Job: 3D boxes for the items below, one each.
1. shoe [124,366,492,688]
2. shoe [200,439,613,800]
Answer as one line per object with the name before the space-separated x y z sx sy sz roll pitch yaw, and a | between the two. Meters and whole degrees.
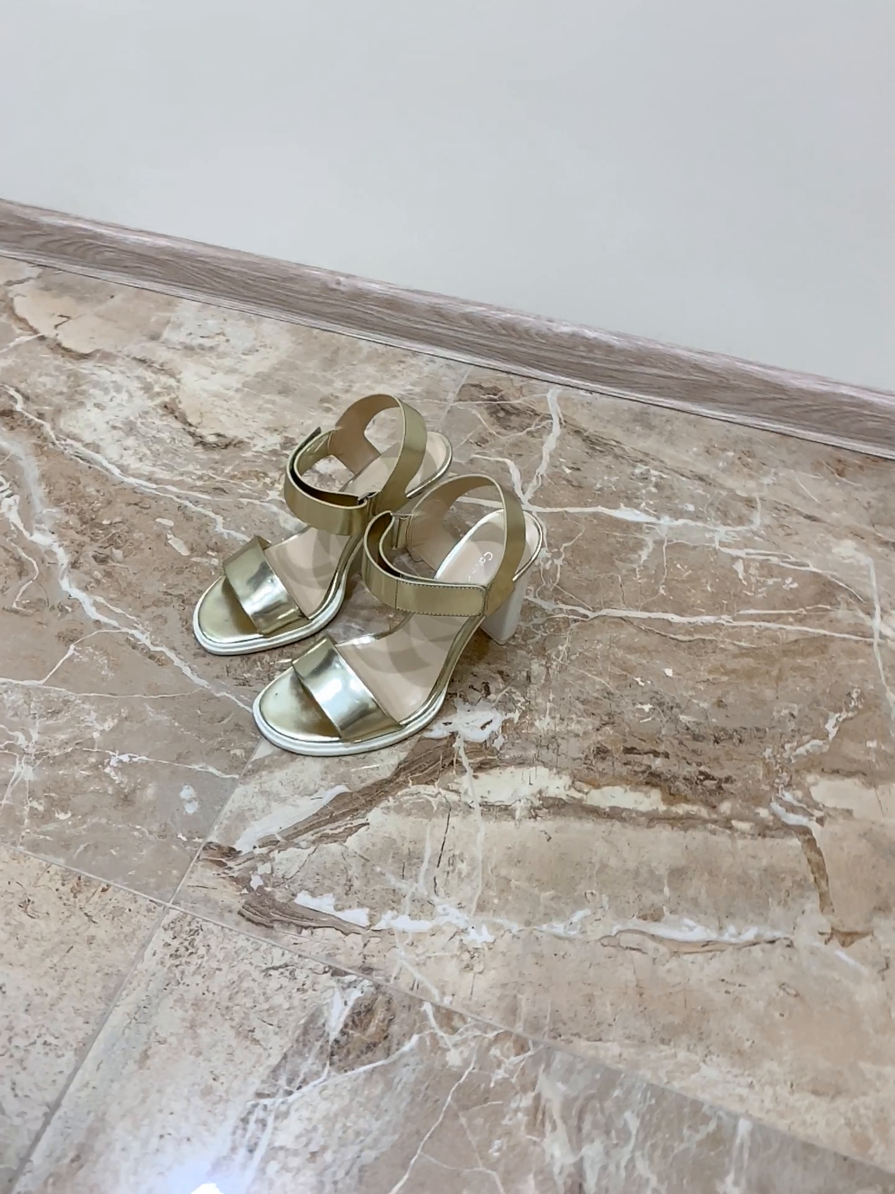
shoe | -0.091 -0.053 0.650 0.220 0.129 0.096 -25 54 -23
shoe | -0.023 0.009 0.596 0.230 0.119 0.100 -25 54 -24
